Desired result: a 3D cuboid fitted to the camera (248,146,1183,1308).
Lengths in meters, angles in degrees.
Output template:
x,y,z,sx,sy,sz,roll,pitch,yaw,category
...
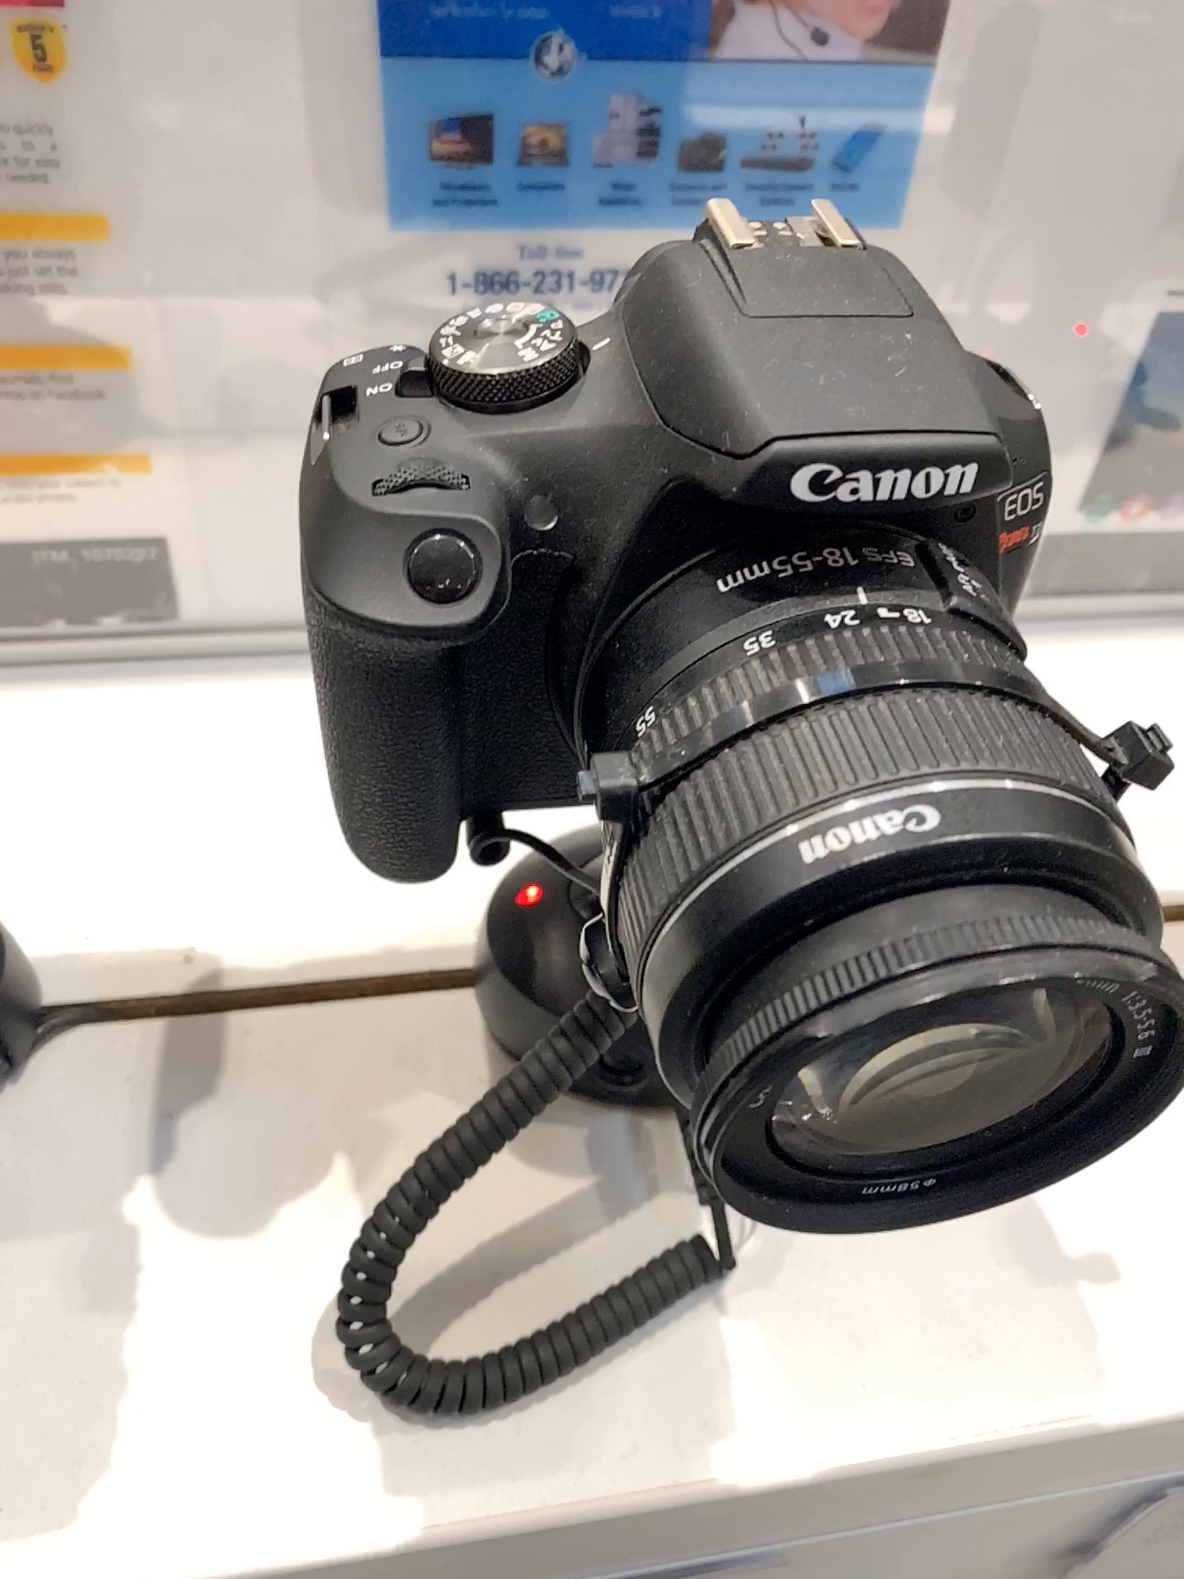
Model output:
x,y,z,sx,sy,sz,roll,pitch,yaw,category
0.023,-0.022,0.183,0.130,0.089,0.141,-4,45,-10,camera
